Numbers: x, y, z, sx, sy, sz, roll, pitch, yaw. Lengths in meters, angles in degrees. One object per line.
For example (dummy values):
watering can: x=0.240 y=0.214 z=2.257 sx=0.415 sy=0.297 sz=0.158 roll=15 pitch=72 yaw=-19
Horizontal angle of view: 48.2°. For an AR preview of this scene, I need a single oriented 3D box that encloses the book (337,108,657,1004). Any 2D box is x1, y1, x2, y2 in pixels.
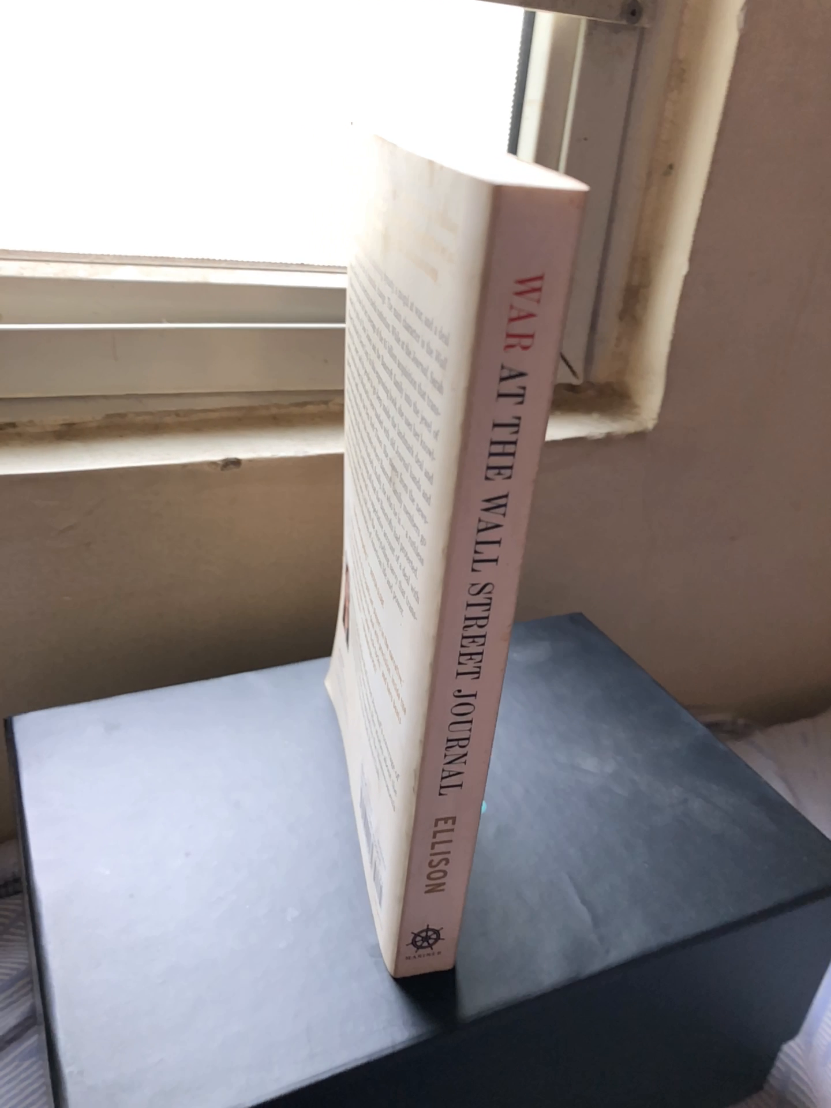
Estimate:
book: x=0.004 y=-0.011 z=0.258 sx=0.030 sy=0.199 sz=0.151 roll=0 pitch=26 yaw=-10
